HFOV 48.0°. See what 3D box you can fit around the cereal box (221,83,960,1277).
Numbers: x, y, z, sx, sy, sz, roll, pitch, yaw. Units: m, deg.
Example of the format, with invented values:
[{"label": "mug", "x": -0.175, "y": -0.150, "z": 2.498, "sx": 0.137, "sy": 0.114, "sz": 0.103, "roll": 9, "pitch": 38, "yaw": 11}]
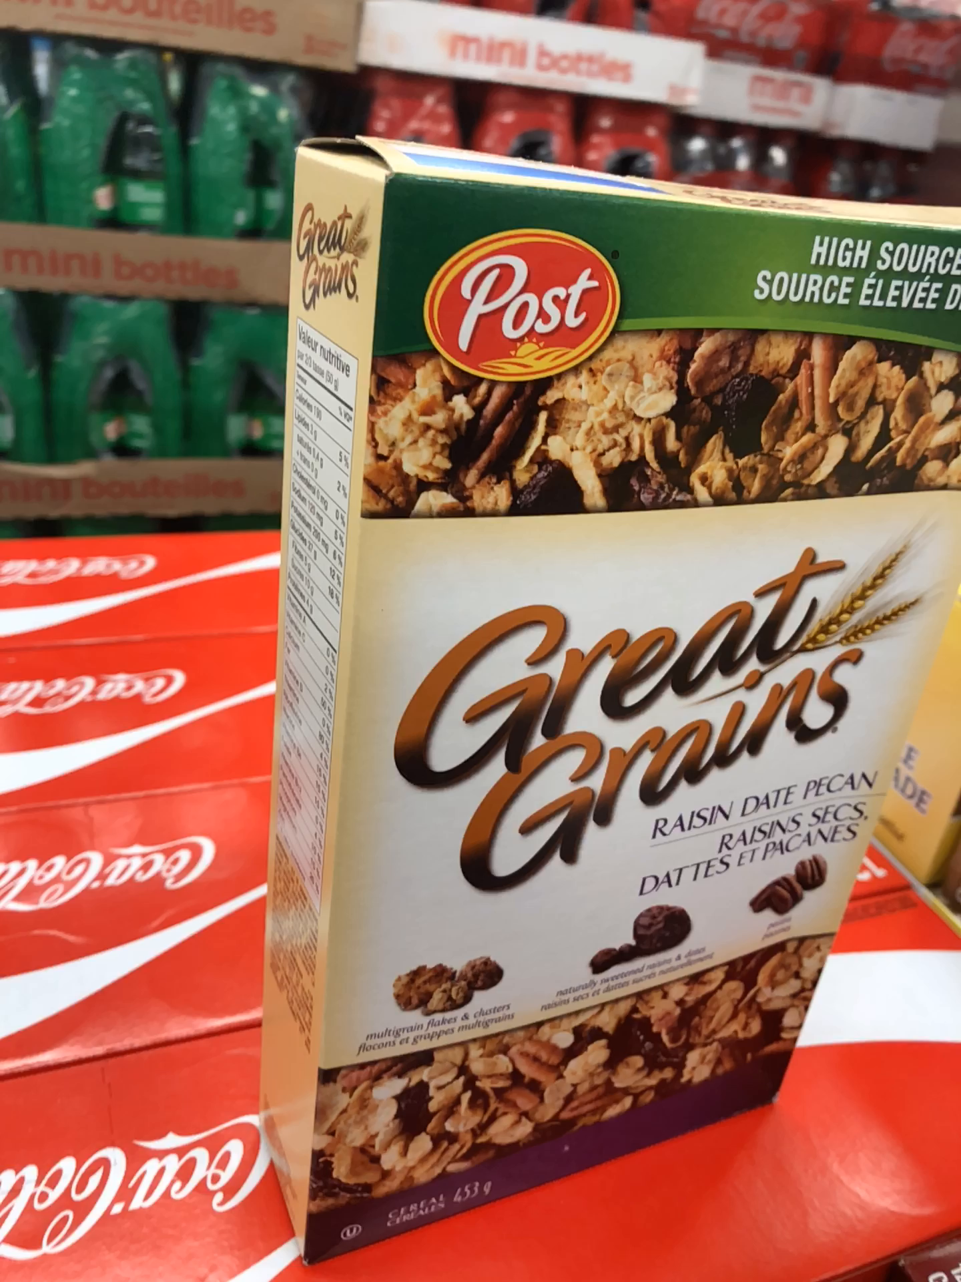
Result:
[{"label": "cereal box", "x": 0.028, "y": 0.024, "z": 0.268, "sx": 0.170, "sy": 0.269, "sz": 0.050, "roll": -6, "pitch": 30, "yaw": -24}]
